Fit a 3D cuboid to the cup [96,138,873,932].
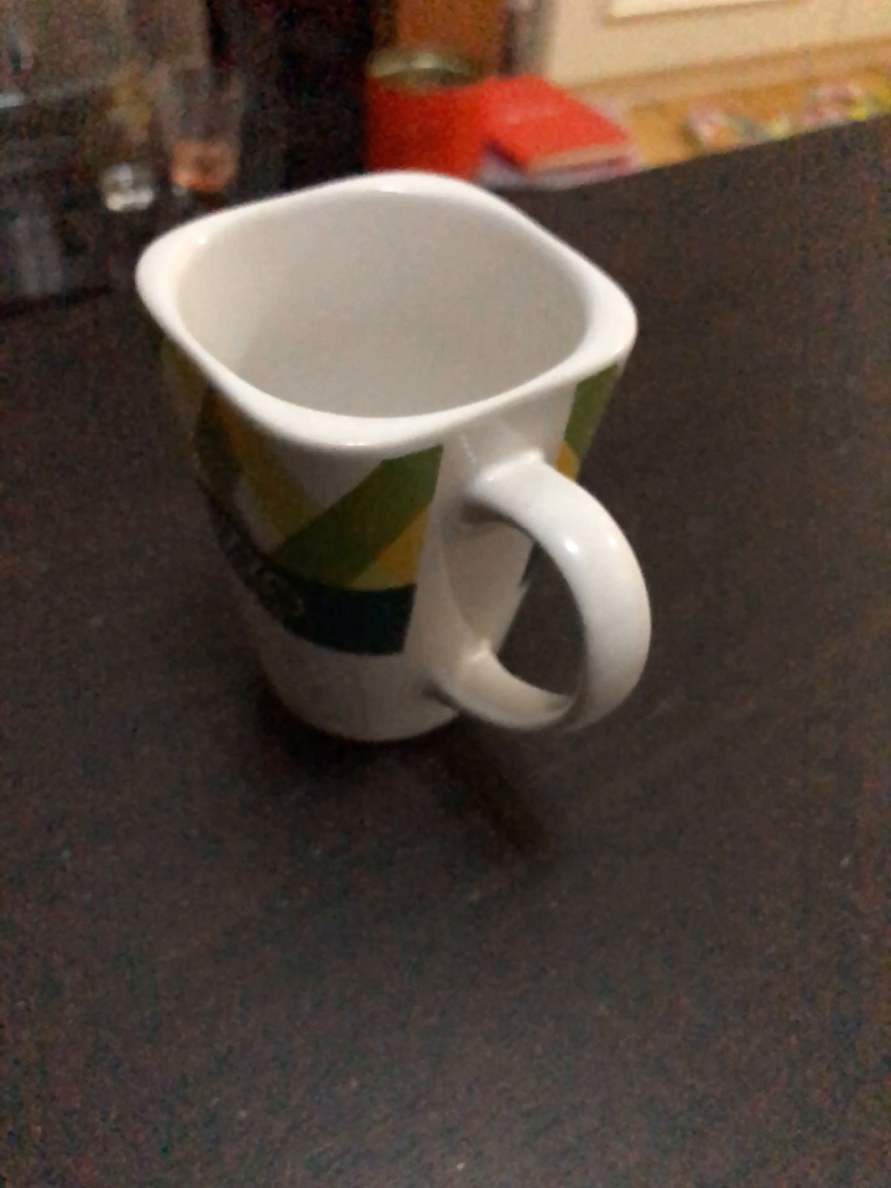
[{"bbox_3d":[0.000,-0.017,0.202,0.080,0.089,0.110,-27,55,-27],"label":"cup"}]
